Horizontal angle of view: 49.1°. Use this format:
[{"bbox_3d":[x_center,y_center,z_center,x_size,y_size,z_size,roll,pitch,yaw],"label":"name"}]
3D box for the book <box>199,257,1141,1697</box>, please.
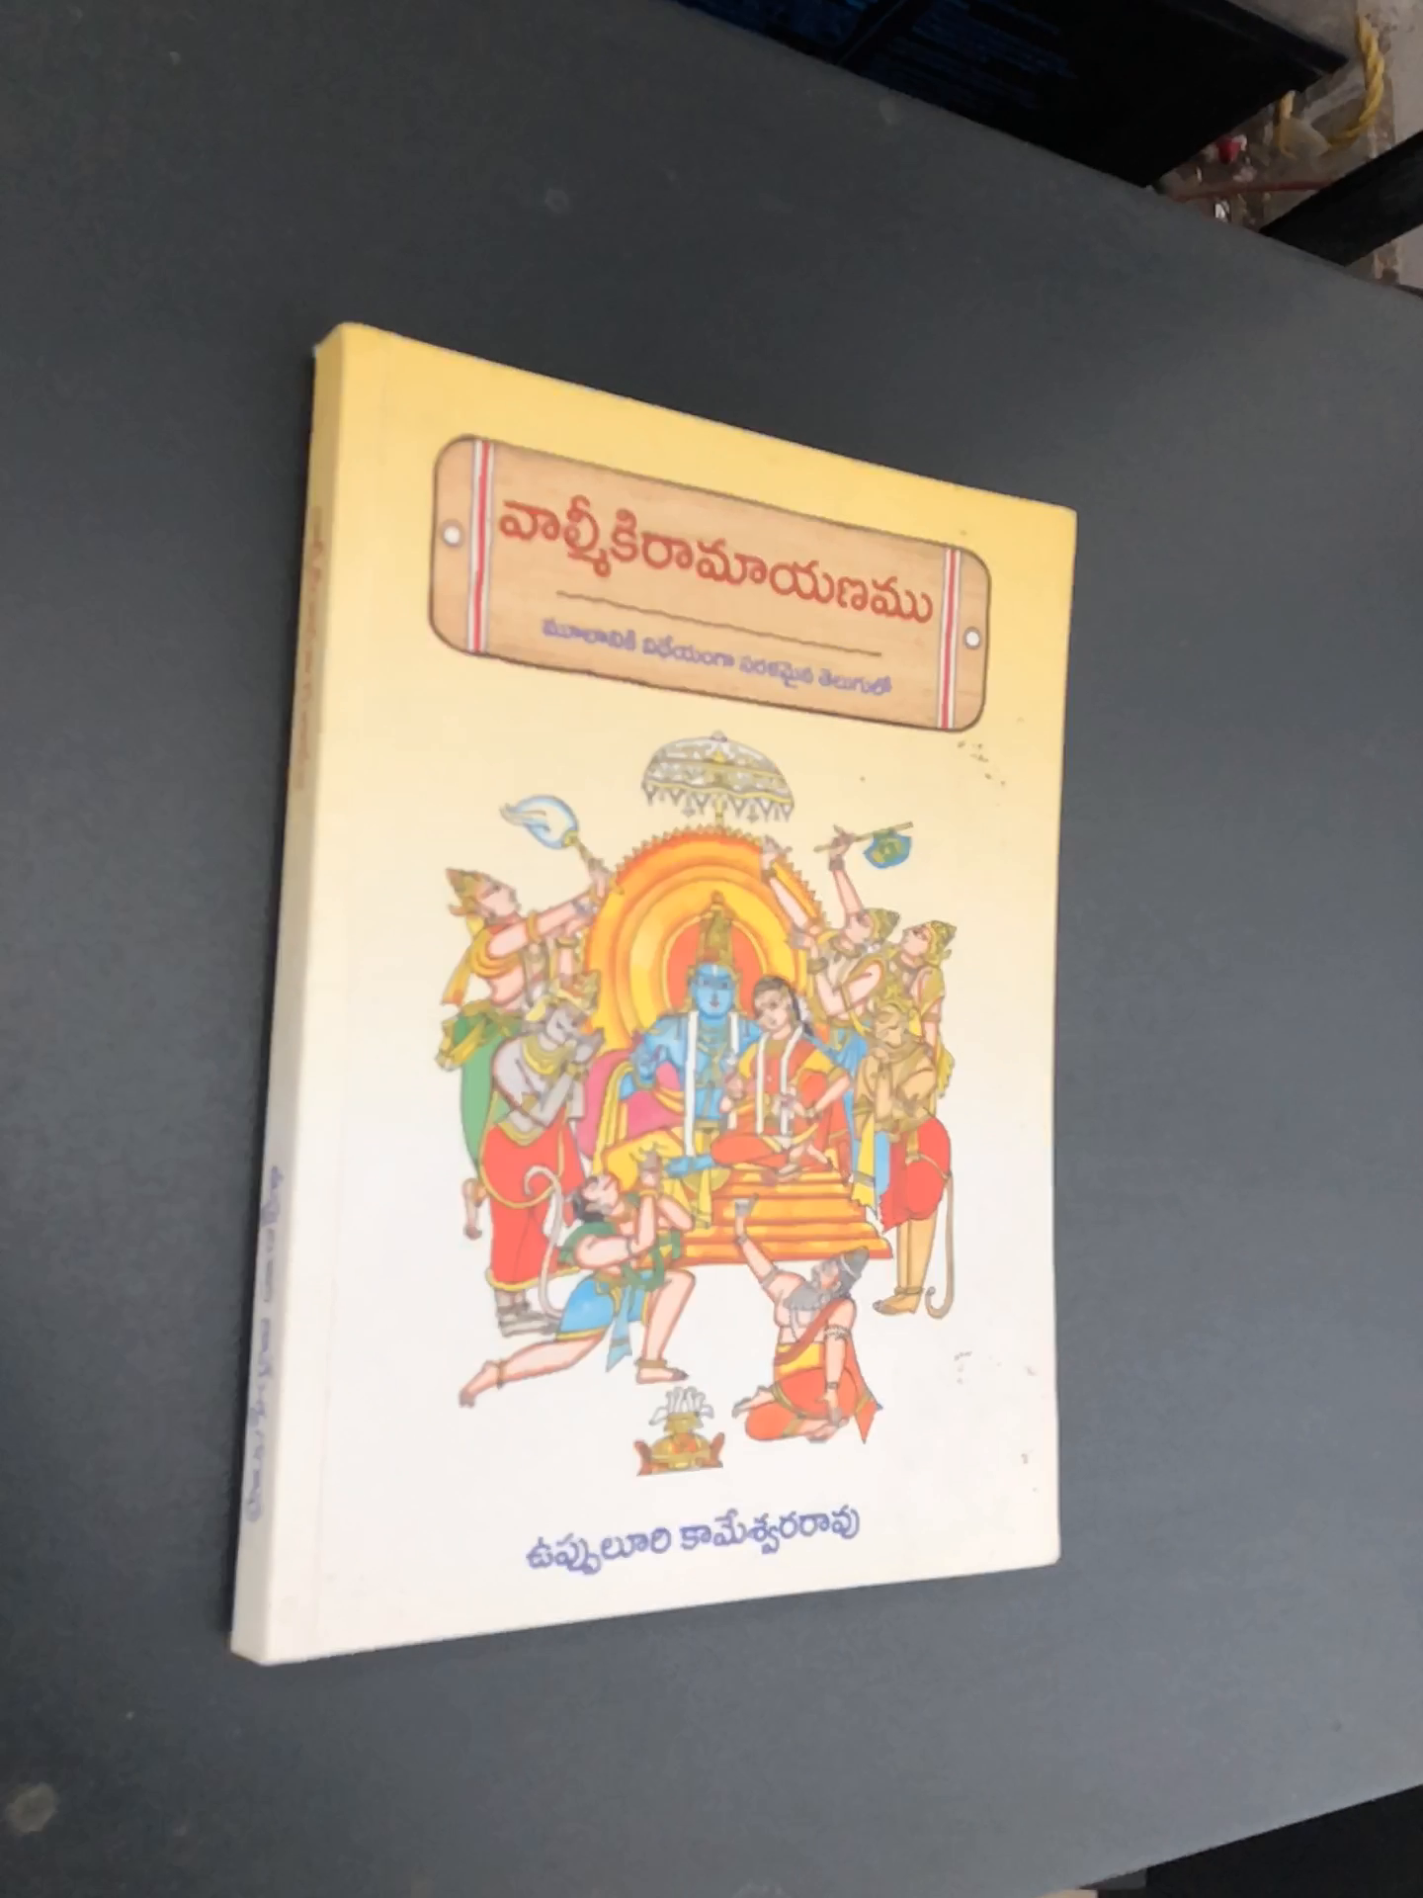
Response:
[{"bbox_3d":[0.007,0.007,0.312,0.191,0.020,0.240,6,83,-28],"label":"book"}]
